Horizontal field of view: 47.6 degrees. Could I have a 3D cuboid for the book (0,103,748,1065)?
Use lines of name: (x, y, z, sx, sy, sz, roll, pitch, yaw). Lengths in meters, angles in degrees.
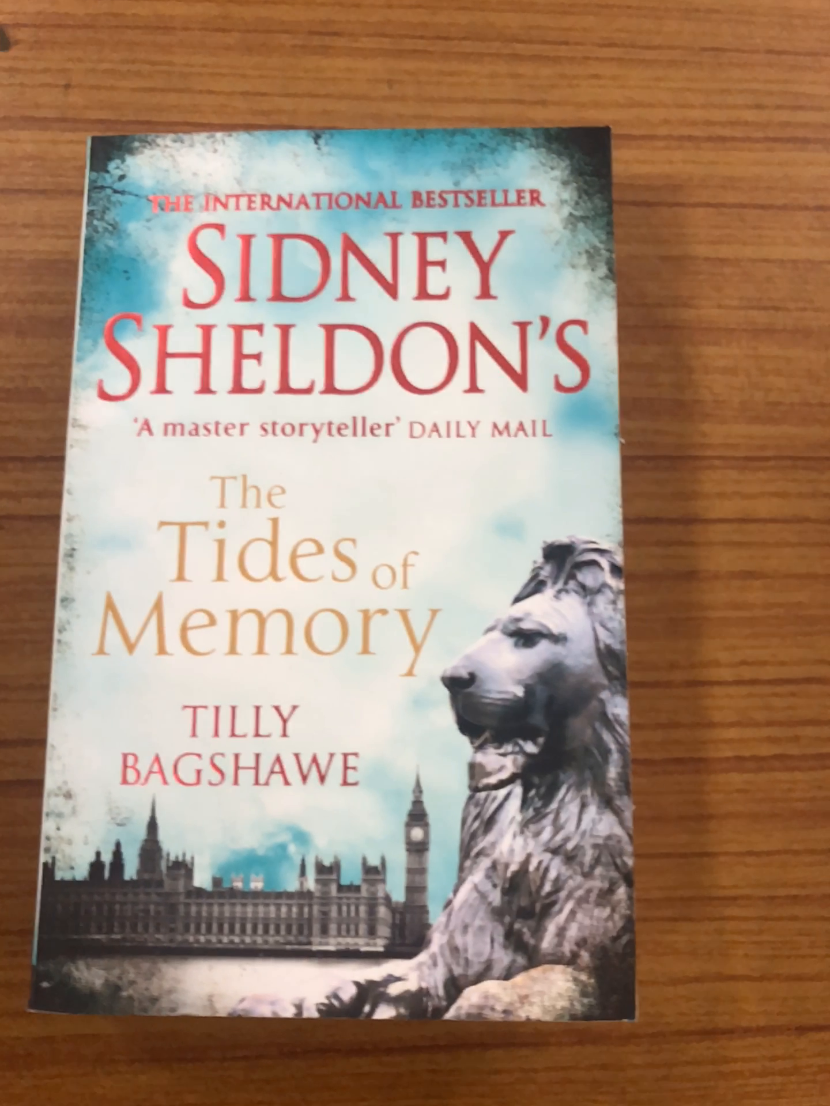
book: (-0.006, 0.001, 0.184, 0.122, 0.038, 0.168, 1, 81, 2)
